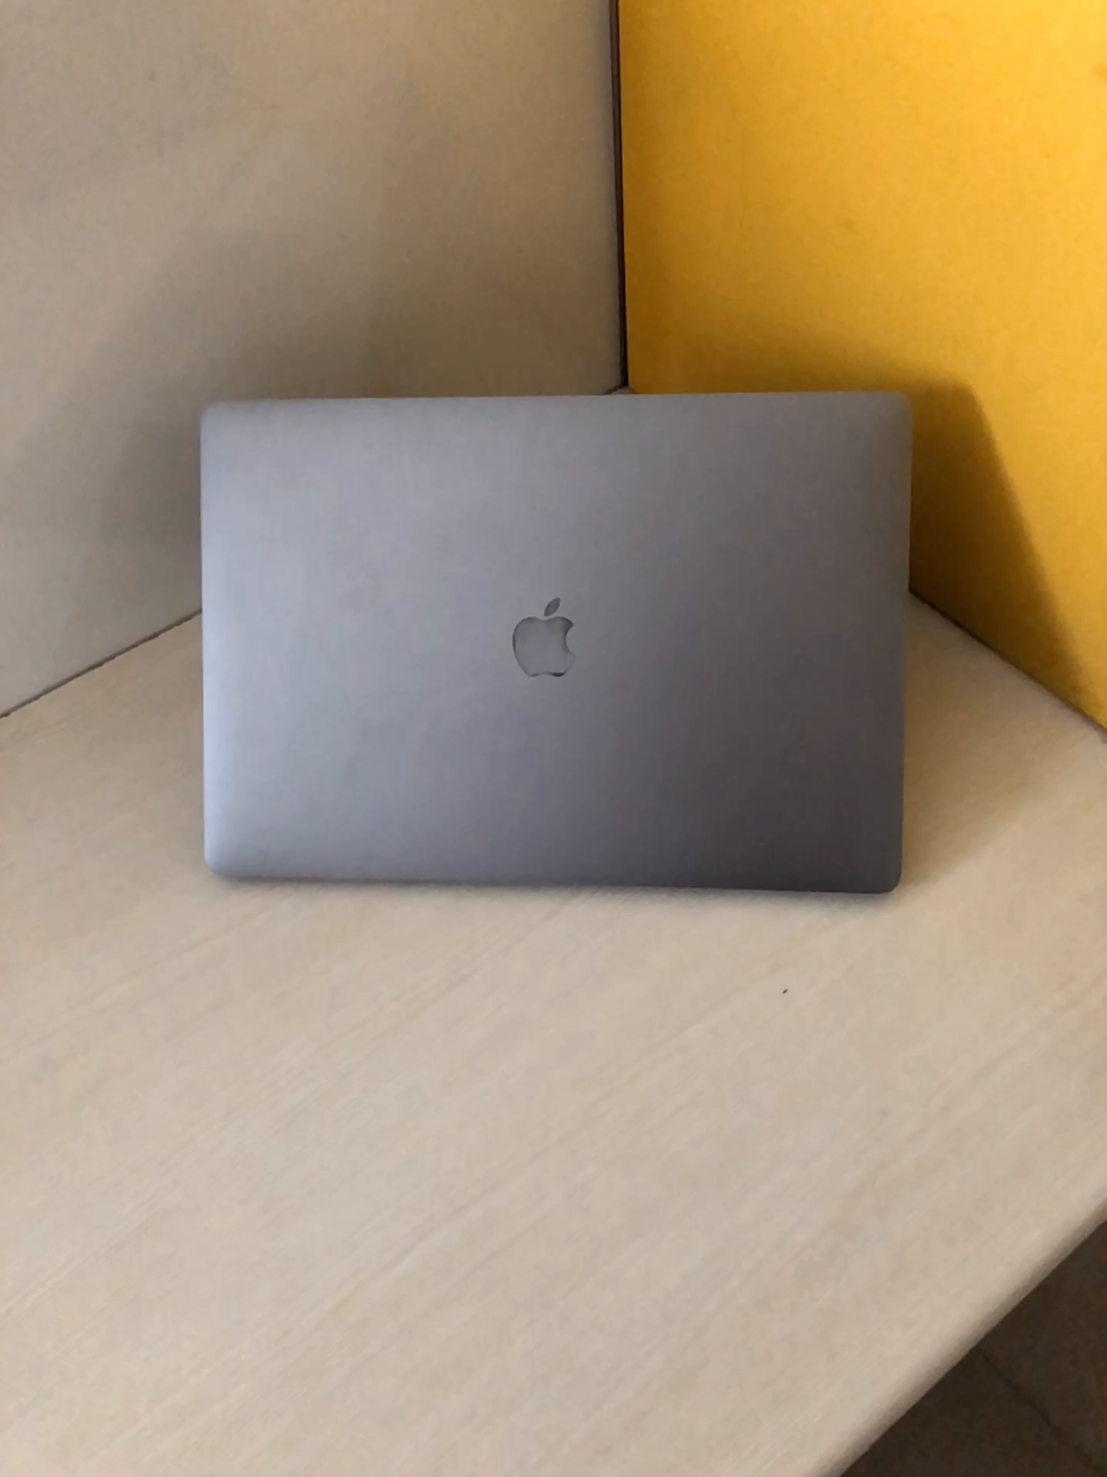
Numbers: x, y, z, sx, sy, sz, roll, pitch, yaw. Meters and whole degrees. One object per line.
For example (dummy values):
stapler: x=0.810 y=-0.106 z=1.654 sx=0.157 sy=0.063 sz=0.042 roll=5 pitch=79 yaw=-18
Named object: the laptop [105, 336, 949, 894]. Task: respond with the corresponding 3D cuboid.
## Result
laptop: x=-0.002 y=-0.067 z=0.623 sx=0.344 sy=0.152 sz=0.237 roll=1 pitch=53 yaw=5
